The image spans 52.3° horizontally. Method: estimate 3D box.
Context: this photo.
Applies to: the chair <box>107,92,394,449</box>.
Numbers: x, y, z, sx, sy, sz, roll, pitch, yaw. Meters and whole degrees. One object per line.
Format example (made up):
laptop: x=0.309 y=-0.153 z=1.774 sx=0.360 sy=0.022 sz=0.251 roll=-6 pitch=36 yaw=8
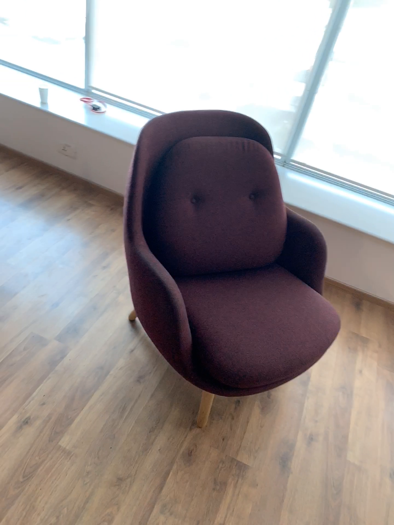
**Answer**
chair: x=0.157 y=-0.005 z=1.410 sx=0.692 sy=0.932 sz=0.633 roll=-15 pitch=47 yaw=-31
